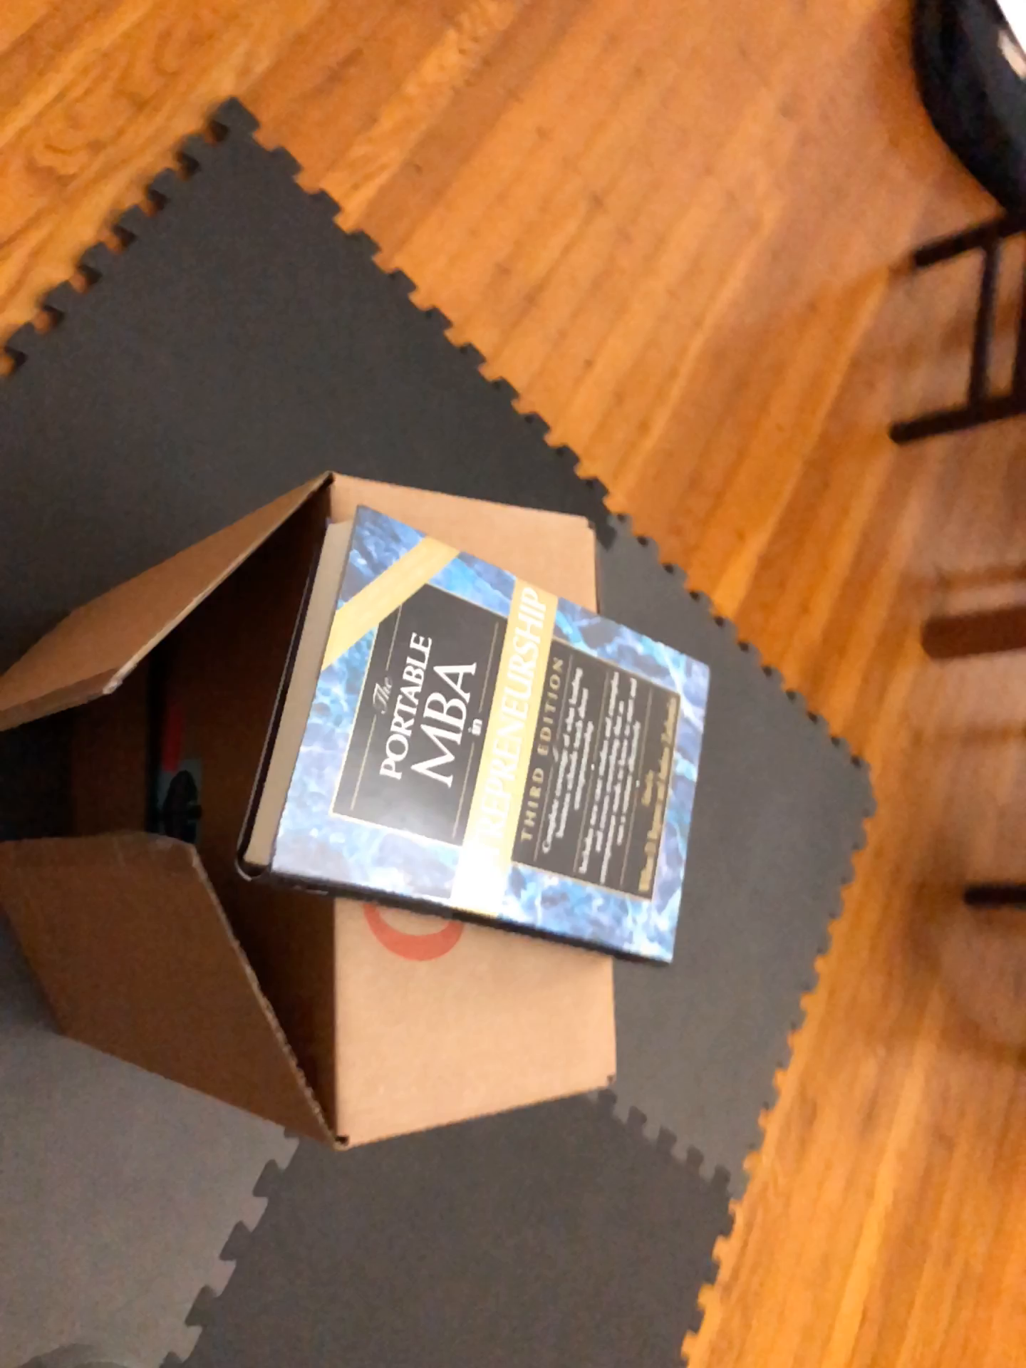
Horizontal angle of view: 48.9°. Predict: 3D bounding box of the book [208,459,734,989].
[{"bbox_3d":[-0.003,0.036,0.611,0.271,0.060,0.210,22,71,-36],"label":"book"}]
